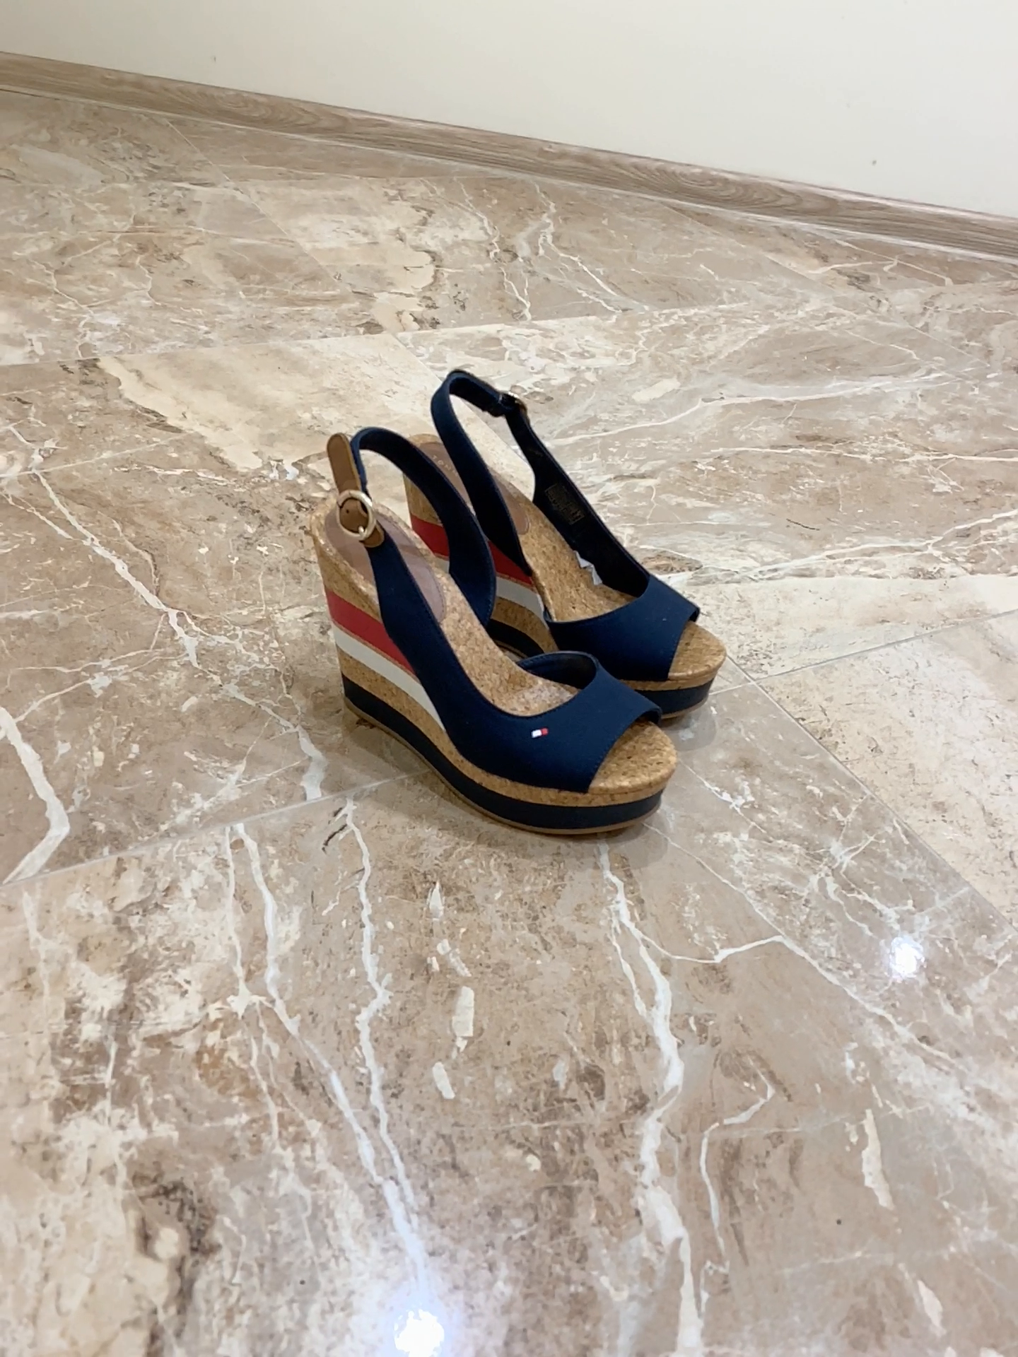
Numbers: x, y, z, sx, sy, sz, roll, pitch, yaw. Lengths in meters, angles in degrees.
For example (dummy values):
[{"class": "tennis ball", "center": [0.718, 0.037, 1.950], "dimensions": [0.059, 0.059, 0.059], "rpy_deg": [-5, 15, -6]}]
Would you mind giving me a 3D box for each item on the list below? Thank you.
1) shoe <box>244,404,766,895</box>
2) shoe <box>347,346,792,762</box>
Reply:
[{"class": "shoe", "center": [-0.009, -0.020, 0.495], "dimensions": [0.210, 0.145, 0.090], "rpy_deg": [22, 40, 20]}, {"class": "shoe", "center": [0.024, -0.073, 0.574], "dimensions": [0.210, 0.145, 0.090], "rpy_deg": [22, 40, 20]}]
